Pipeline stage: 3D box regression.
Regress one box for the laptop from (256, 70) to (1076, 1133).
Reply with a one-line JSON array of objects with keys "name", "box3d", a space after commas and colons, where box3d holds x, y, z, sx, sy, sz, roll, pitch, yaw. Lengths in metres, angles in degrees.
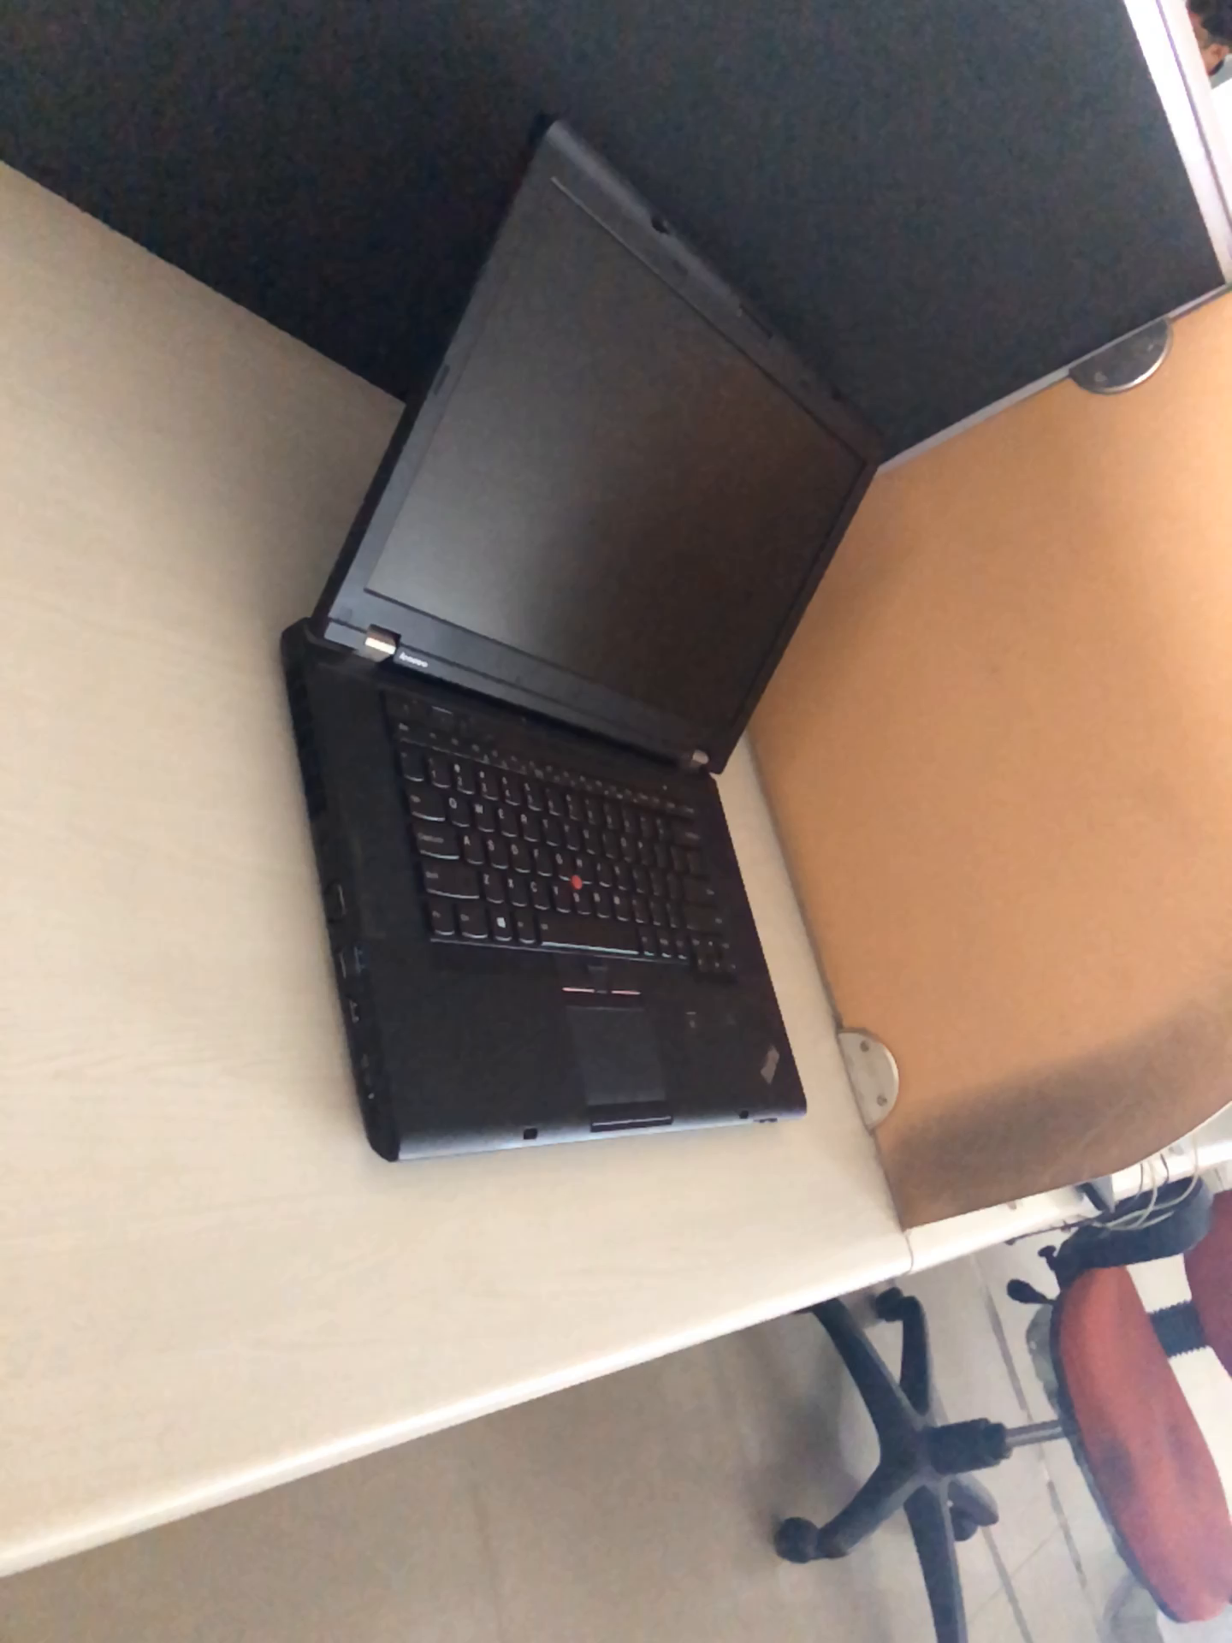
[{"name": "laptop", "box3d": [0.042, -0.066, 0.688, 0.355, 0.185, 0.379, 14, 59, -57]}]
